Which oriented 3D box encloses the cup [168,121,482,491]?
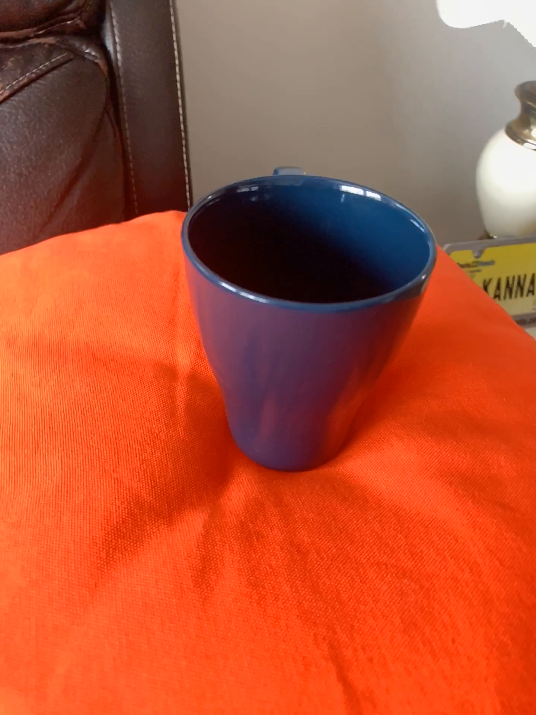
[{"bbox_3d":[0.012,-0.025,0.212,0.080,0.079,0.121,3,42,-3],"label":"cup"}]
